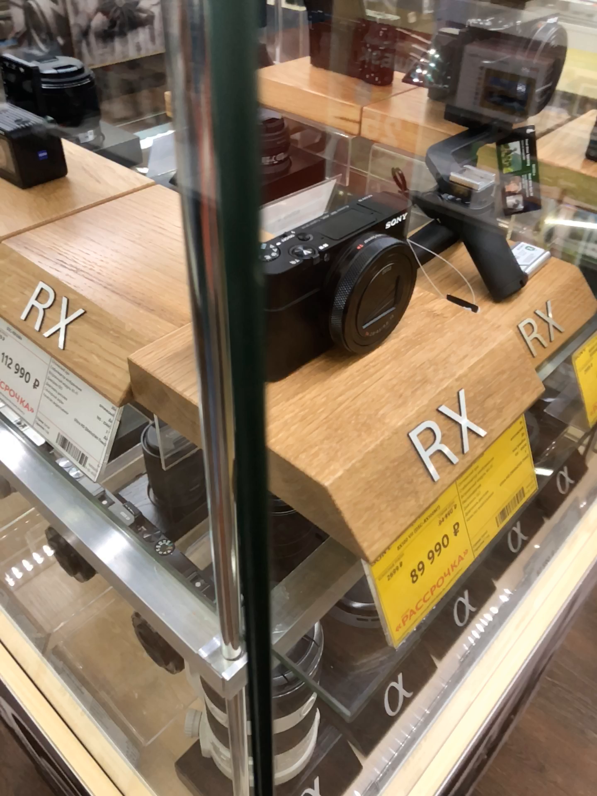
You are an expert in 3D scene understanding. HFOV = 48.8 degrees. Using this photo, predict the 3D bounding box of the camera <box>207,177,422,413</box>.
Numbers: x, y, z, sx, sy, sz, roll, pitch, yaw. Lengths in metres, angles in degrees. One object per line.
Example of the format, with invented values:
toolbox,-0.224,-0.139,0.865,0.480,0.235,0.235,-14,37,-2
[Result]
camera,0.010,-0.053,0.317,0.040,0.070,0.100,31,49,30

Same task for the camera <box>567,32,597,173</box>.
camera,0.278,-0.242,0.533,0.040,0.070,0.143,32,49,30

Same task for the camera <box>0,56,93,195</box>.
camera,-0.176,-0.183,0.441,0.052,0.070,0.040,30,49,30
